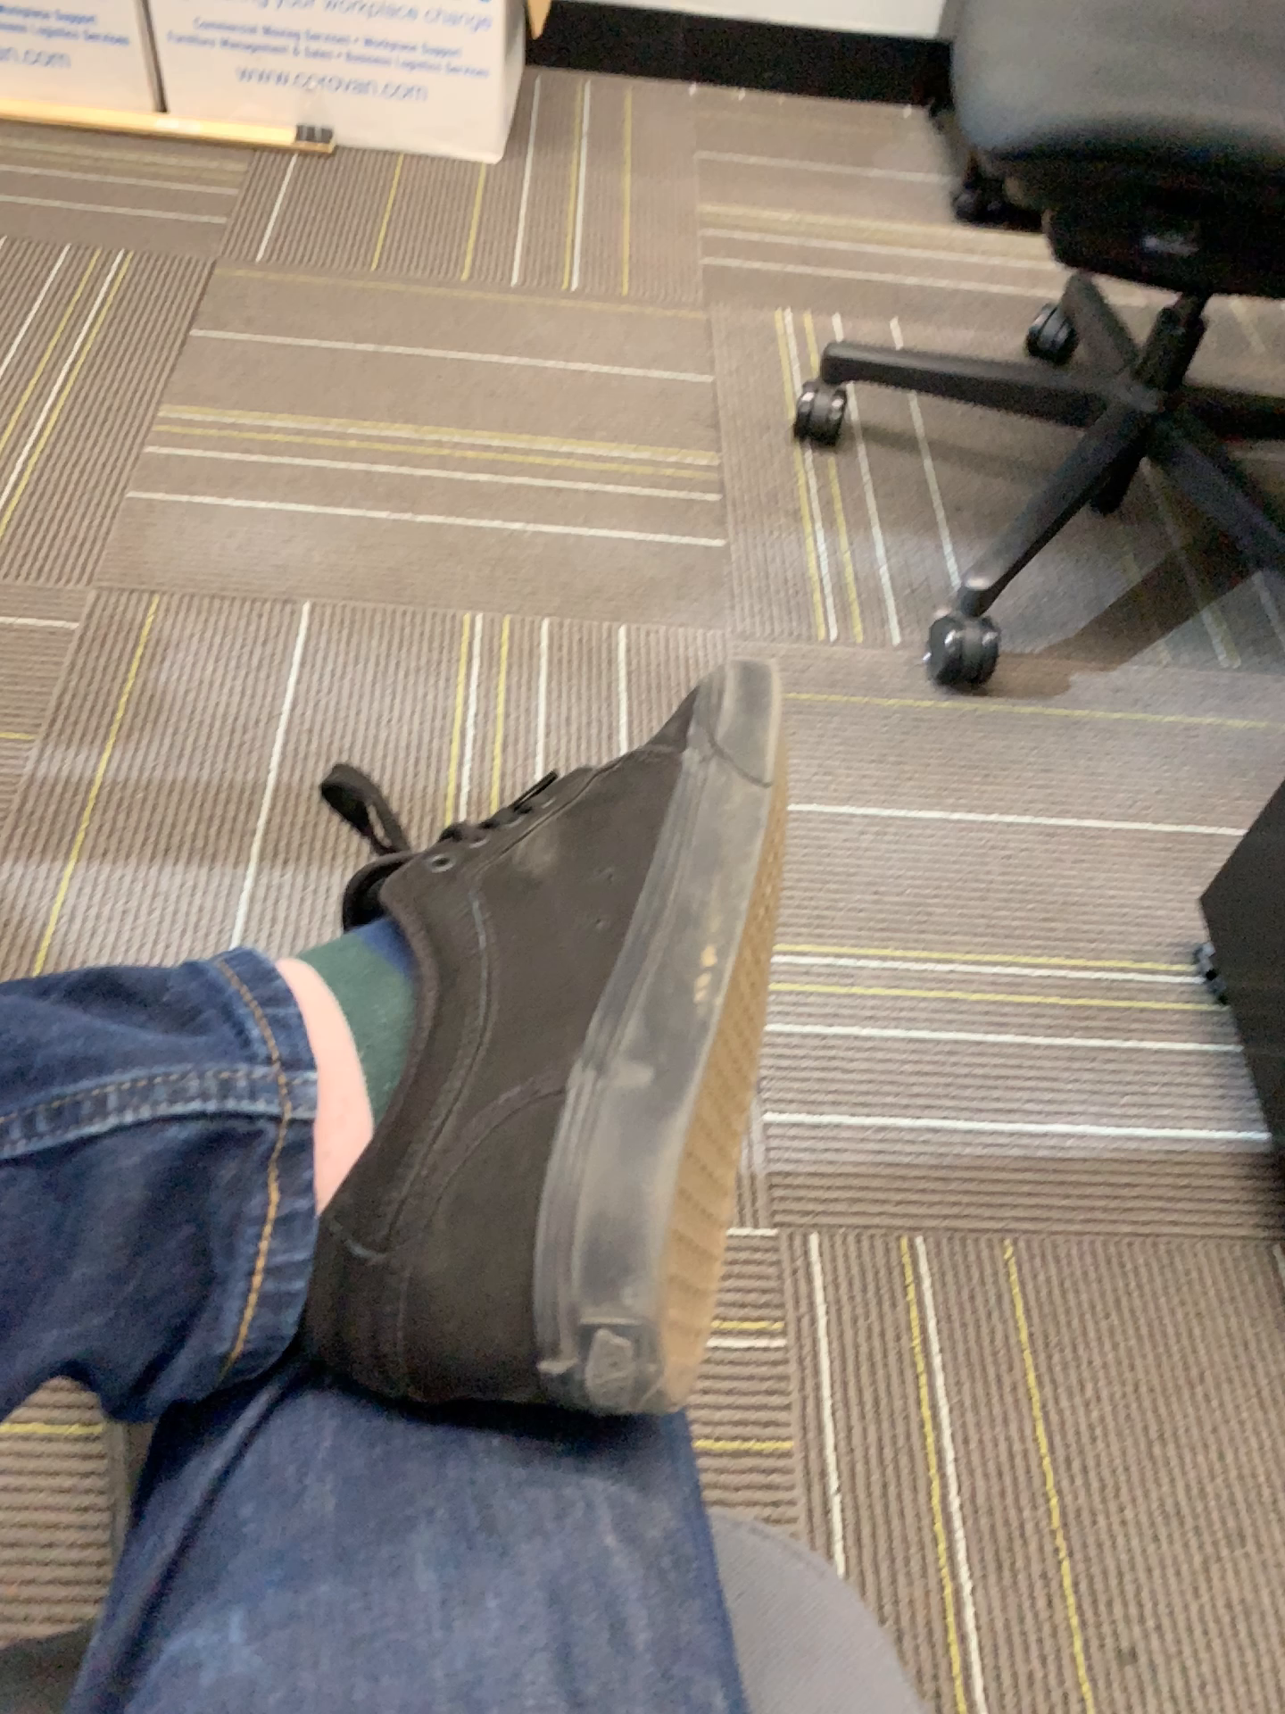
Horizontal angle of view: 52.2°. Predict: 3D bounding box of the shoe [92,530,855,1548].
[{"bbox_3d":[-0.021,0.036,0.392,0.134,0.120,0.261,7,51,9],"label":"shoe"}]
